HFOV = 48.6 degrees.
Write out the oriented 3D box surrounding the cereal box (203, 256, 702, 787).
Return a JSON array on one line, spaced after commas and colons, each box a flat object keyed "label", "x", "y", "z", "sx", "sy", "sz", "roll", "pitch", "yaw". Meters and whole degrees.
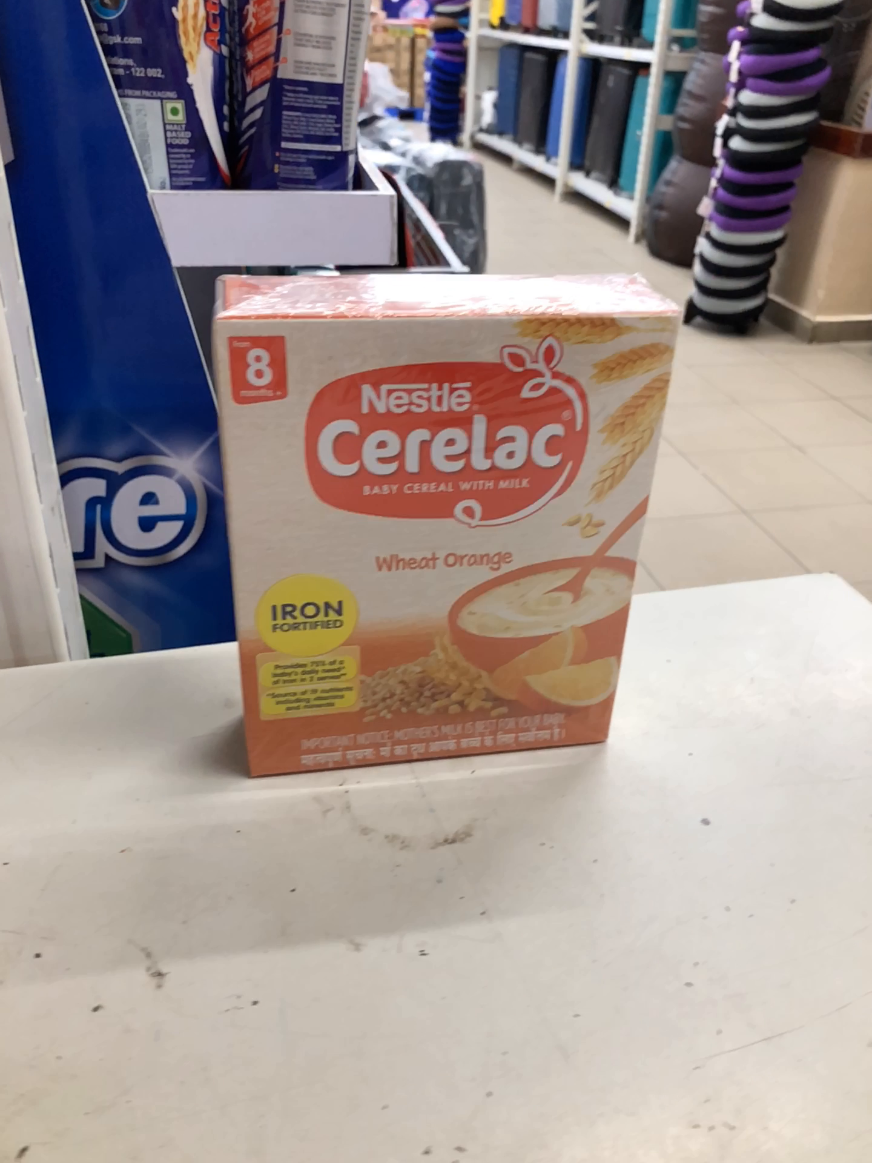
[{"label": "cereal box", "x": 0.000, "y": -0.019, "z": 0.377, "sx": 0.160, "sy": 0.199, "sz": 0.050, "roll": -4, "pitch": 32, "yaw": -10}]
